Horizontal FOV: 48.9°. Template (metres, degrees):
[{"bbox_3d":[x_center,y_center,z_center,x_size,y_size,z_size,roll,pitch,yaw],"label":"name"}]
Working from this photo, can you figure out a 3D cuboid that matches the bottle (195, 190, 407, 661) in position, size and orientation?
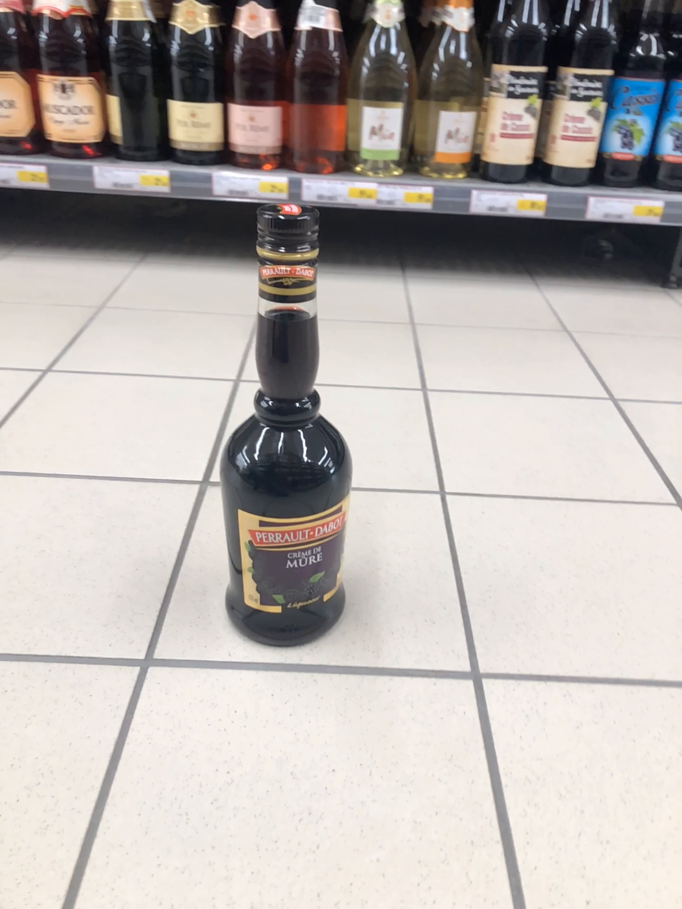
[{"bbox_3d":[-0.029,-0.012,0.438,0.090,0.258,0.080,-6,30,-16],"label":"bottle"}]
